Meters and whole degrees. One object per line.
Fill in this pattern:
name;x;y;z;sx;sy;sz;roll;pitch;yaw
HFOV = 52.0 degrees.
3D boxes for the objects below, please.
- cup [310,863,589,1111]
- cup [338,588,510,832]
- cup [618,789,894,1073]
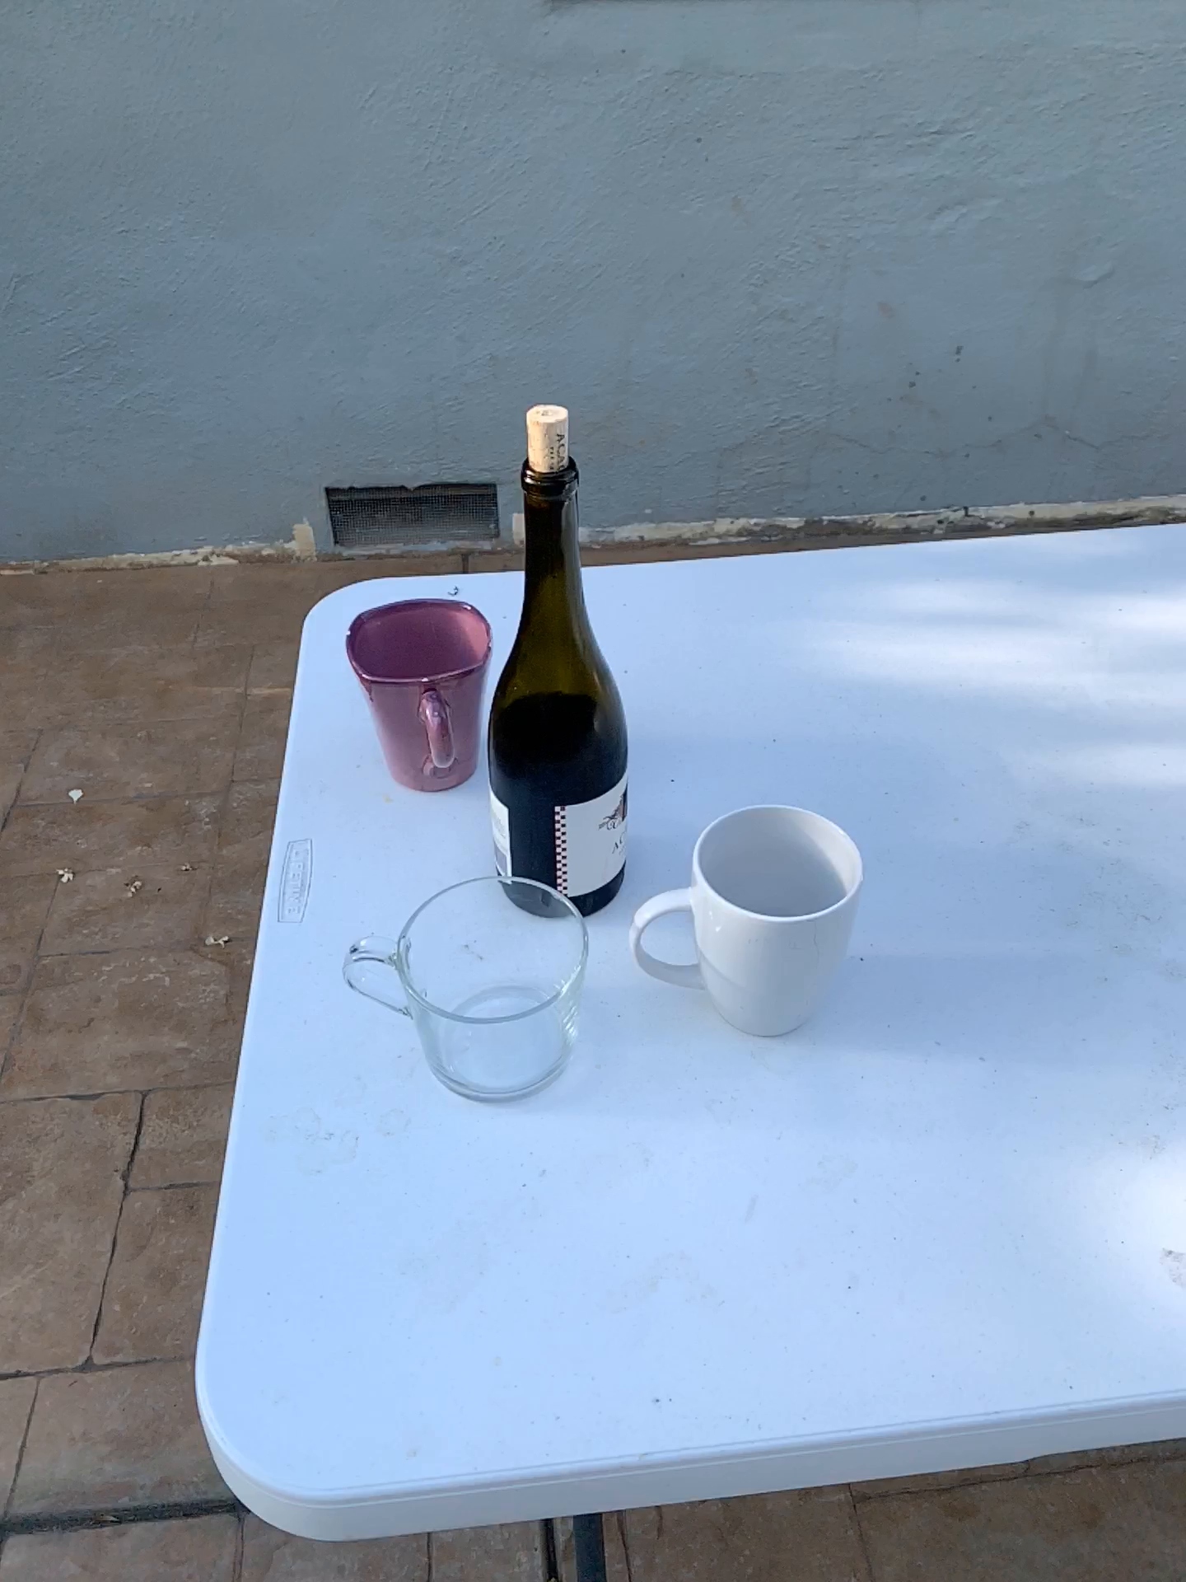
cup;-0.070;0.104;0.652;0.130;0.080;0.101;1;39;2
cup;-0.116;-0.058;0.831;0.100;0.099;0.131;-7;40;-7
cup;0.084;0.079;0.685;0.130;0.119;0.091;-4;39;-4
